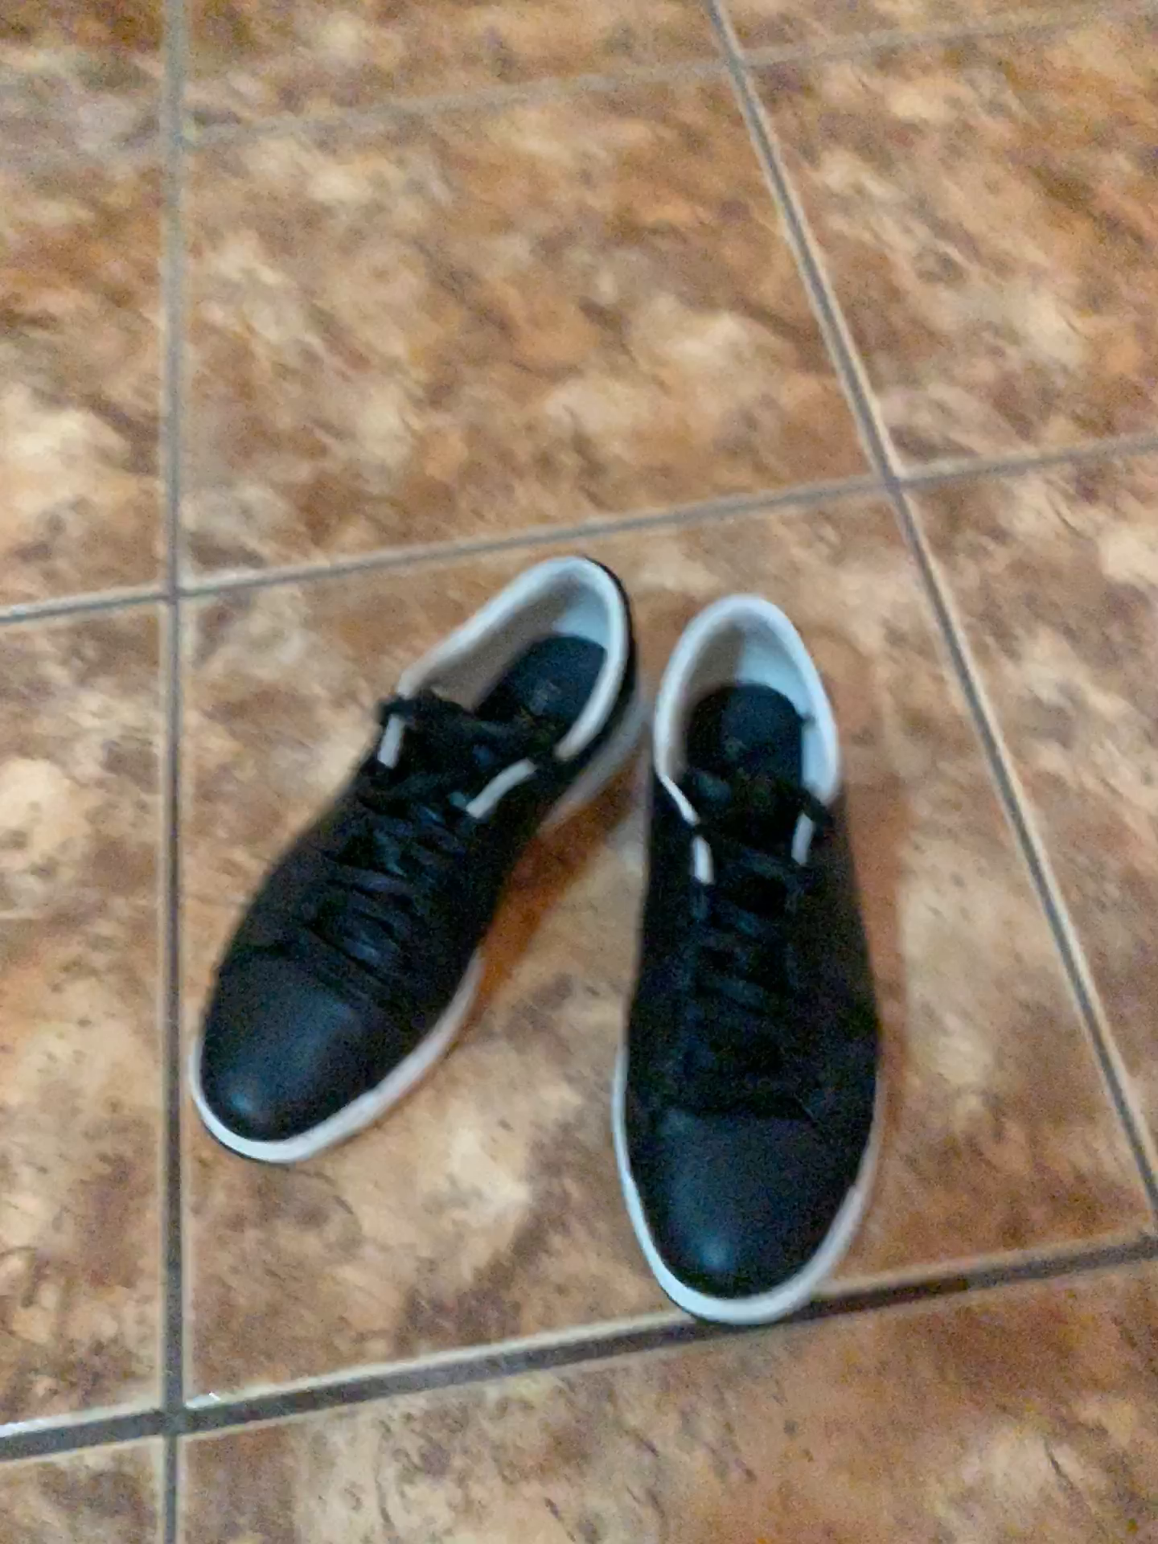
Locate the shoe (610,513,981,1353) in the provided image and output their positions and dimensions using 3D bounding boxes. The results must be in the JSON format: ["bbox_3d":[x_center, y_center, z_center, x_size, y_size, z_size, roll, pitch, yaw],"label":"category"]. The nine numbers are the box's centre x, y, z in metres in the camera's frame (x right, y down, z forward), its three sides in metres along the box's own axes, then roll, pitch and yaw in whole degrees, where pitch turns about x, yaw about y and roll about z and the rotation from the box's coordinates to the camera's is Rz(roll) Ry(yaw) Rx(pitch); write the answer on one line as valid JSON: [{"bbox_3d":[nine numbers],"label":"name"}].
[{"bbox_3d":[0.062,0.046,0.399,0.090,0.103,0.255,2,60,4],"label":"shoe"}]

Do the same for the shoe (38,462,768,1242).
[{"bbox_3d":[-0.043,0.021,0.418,0.087,0.093,0.255,32,66,19],"label":"shoe"}]
